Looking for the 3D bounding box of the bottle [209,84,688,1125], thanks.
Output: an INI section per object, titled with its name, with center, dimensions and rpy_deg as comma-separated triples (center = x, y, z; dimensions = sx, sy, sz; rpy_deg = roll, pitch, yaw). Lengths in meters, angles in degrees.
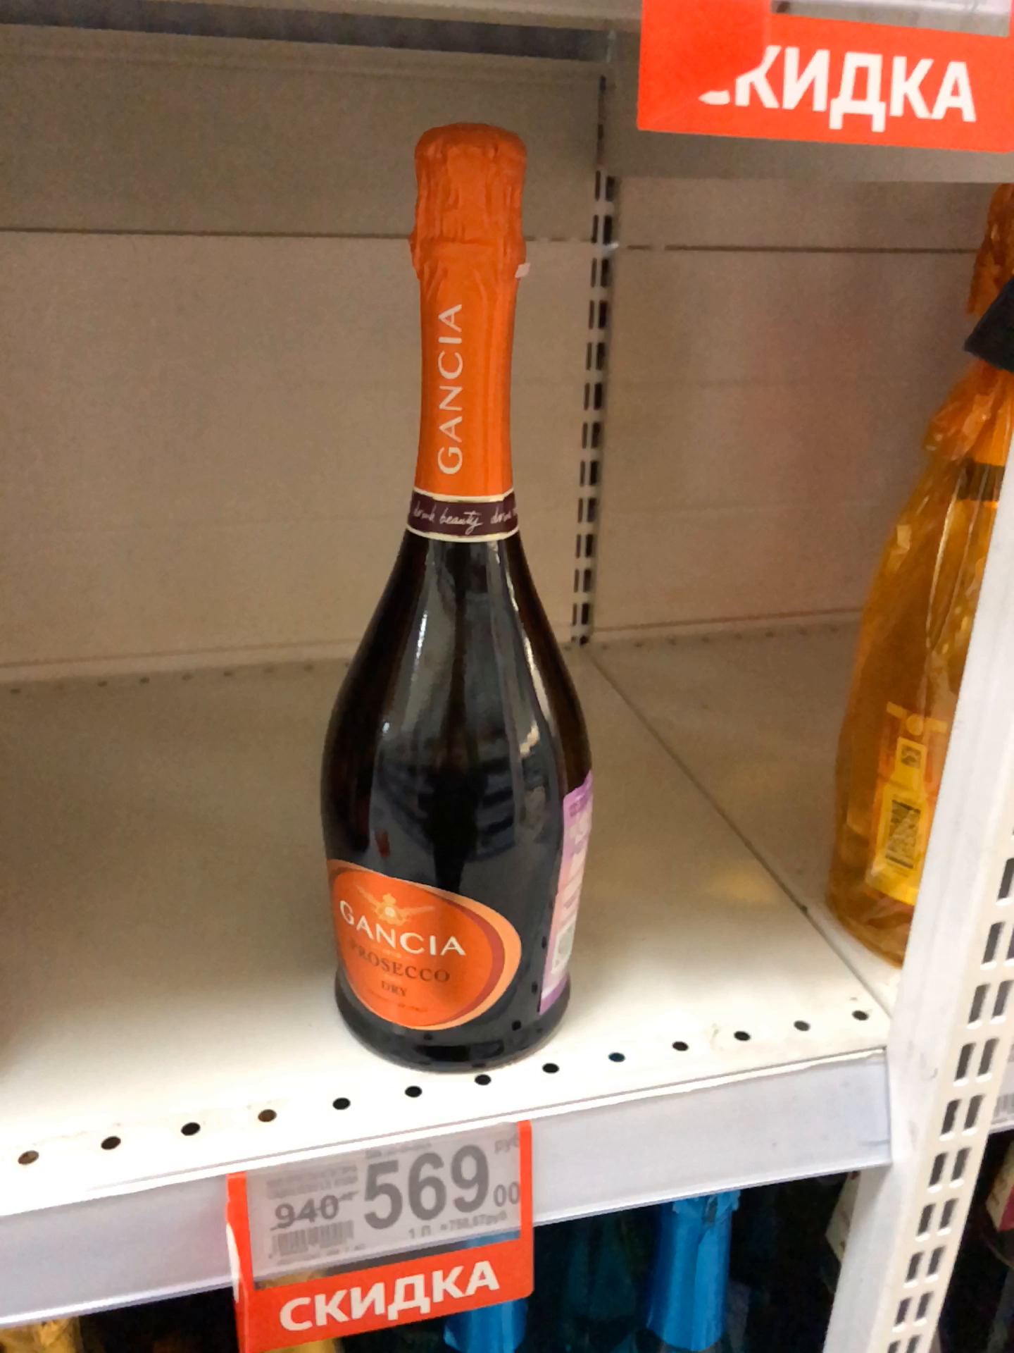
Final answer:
[bottle]
center = -0.016, -0.019, 0.375
dimensions = 0.100, 0.308, 0.100
rpy_deg = 2, 23, -1
